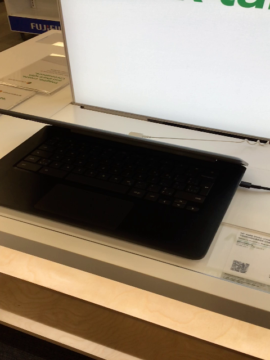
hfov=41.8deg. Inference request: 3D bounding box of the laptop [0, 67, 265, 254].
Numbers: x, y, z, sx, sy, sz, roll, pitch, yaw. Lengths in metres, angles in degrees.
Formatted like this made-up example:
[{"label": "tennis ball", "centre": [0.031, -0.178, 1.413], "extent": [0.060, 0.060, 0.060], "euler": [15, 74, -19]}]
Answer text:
[{"label": "laptop", "centre": [-0.041, -0.044, 0.497], "extent": [0.350, 0.121, 0.199], "euler": [15, 45, 16]}]
